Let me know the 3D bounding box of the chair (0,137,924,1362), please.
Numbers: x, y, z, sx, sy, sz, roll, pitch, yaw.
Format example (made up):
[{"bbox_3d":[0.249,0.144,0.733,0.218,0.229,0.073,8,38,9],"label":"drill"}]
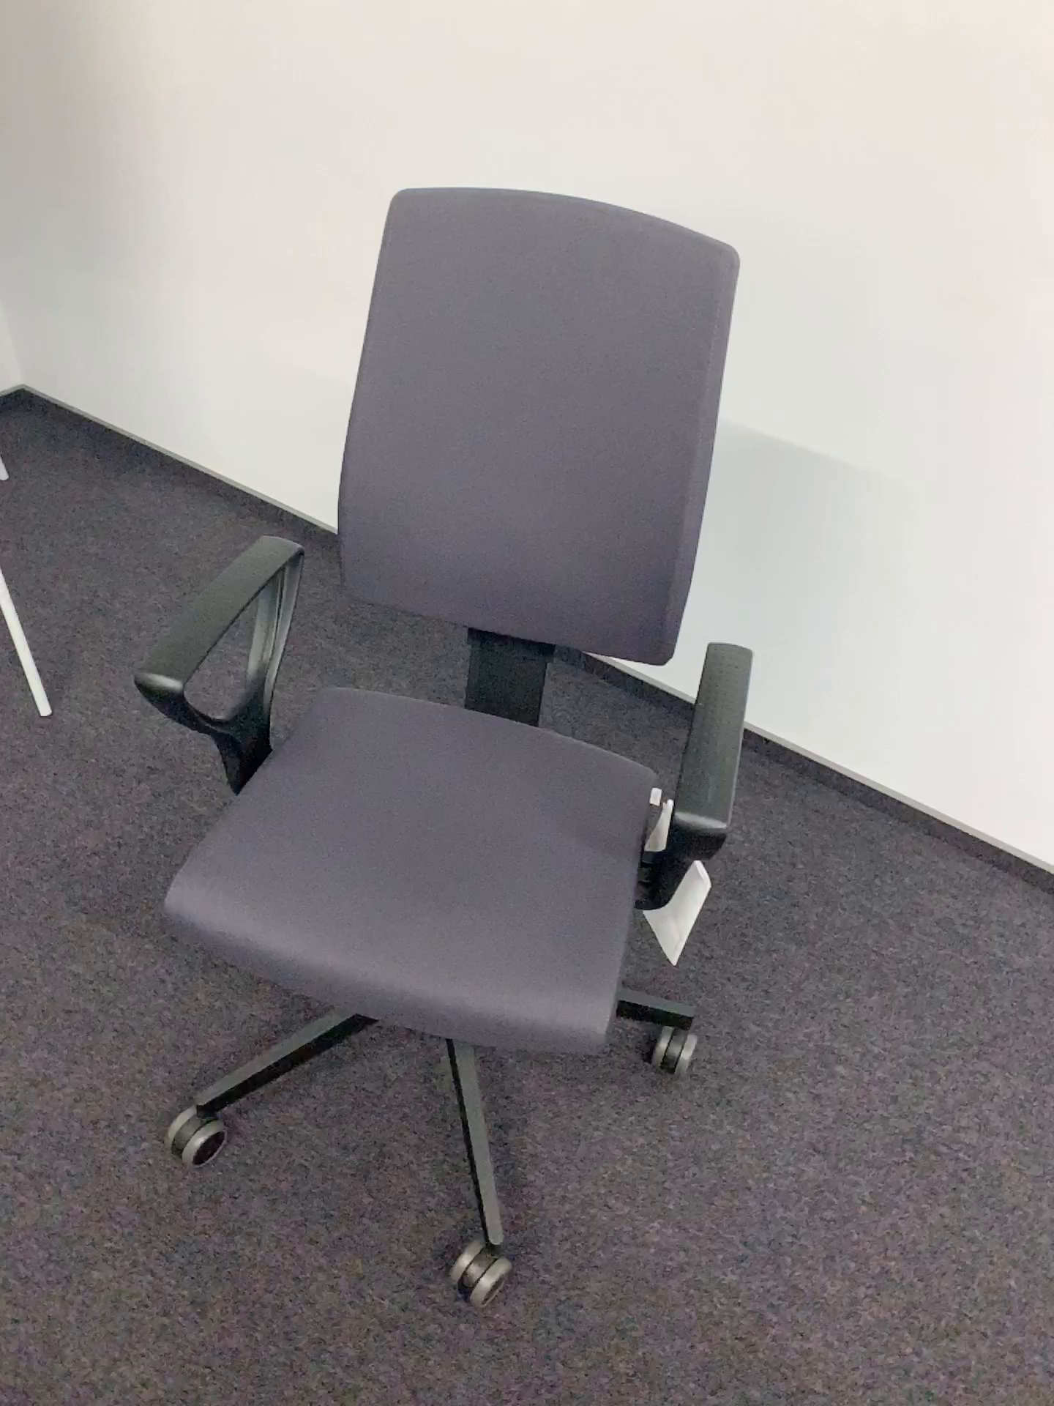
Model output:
[{"bbox_3d":[-0.061,0.037,1.264,0.700,1.035,0.784,15,39,9],"label":"chair"}]
